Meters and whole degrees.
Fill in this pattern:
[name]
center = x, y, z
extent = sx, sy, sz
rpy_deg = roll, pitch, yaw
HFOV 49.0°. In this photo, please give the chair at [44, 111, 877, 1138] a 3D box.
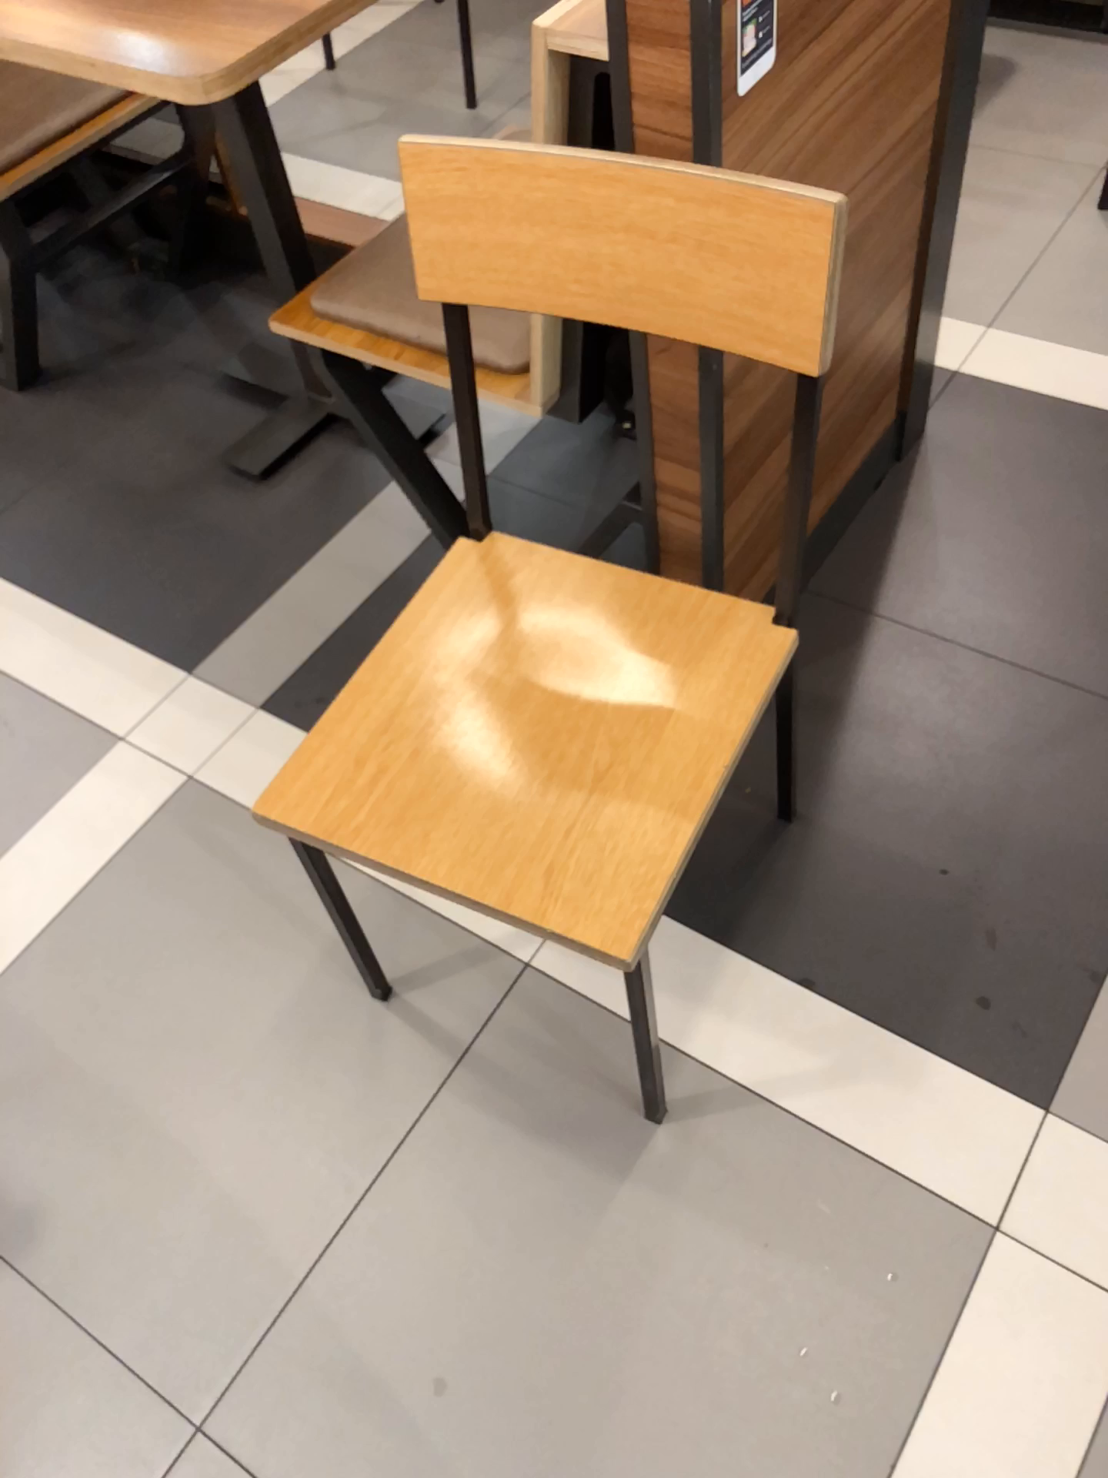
[chair]
center = -0.003, -0.056, 1.192
extent = 0.431, 0.846, 0.462
rpy_deg = 17, 56, 21
